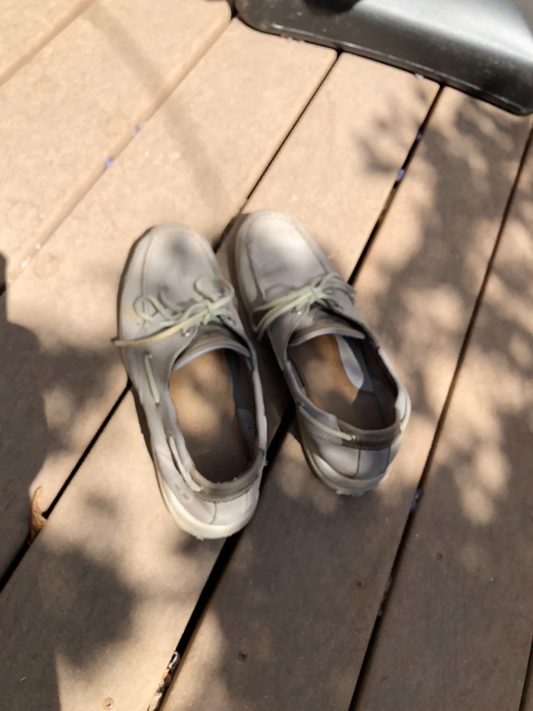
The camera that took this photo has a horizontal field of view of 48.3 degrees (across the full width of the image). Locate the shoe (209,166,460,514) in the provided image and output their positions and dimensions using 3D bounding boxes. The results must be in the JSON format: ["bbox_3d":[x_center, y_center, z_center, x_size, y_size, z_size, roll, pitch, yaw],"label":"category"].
[{"bbox_3d":[0.047,-0.025,0.530,0.109,0.076,0.293,-11,68,-20],"label":"shoe"}]

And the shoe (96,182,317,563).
[{"bbox_3d":[-0.061,0.001,0.486,0.109,0.076,0.294,-8,67,-19],"label":"shoe"}]
